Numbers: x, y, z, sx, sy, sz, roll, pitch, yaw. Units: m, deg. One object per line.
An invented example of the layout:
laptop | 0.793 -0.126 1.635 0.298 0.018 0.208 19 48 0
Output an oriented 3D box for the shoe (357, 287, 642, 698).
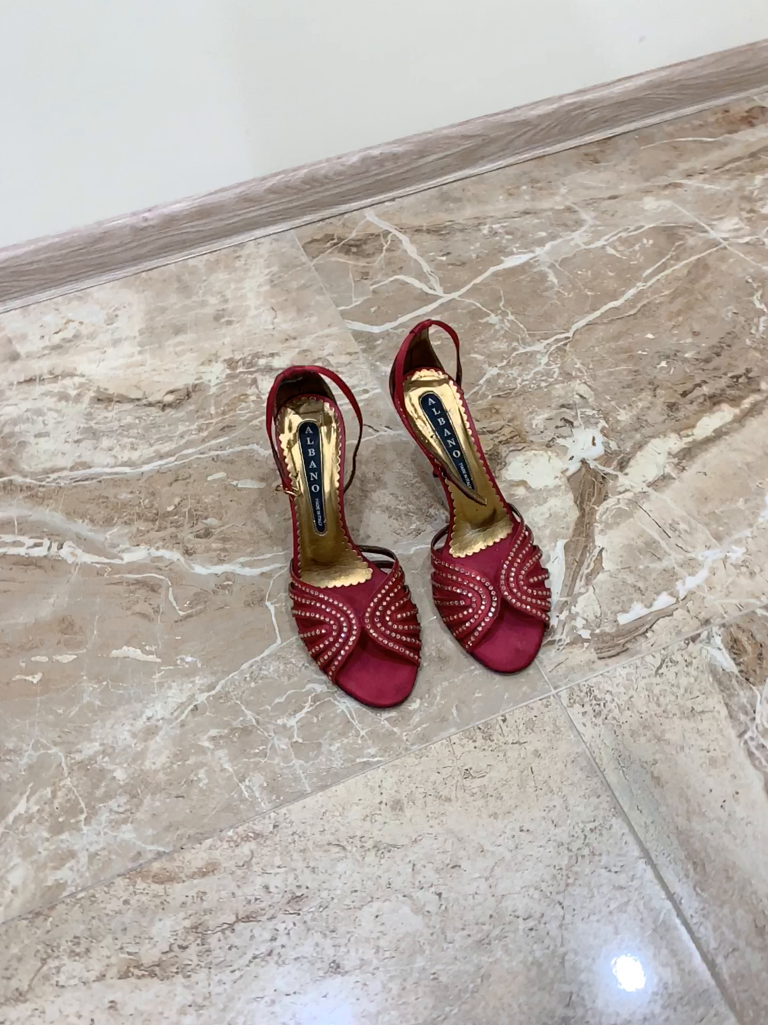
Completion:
shoe | 0.062 -0.019 0.526 0.090 0.129 0.231 -16 55 -8

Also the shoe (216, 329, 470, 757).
shoe | -0.030 0.014 0.511 0.090 0.129 0.231 -16 55 -8
